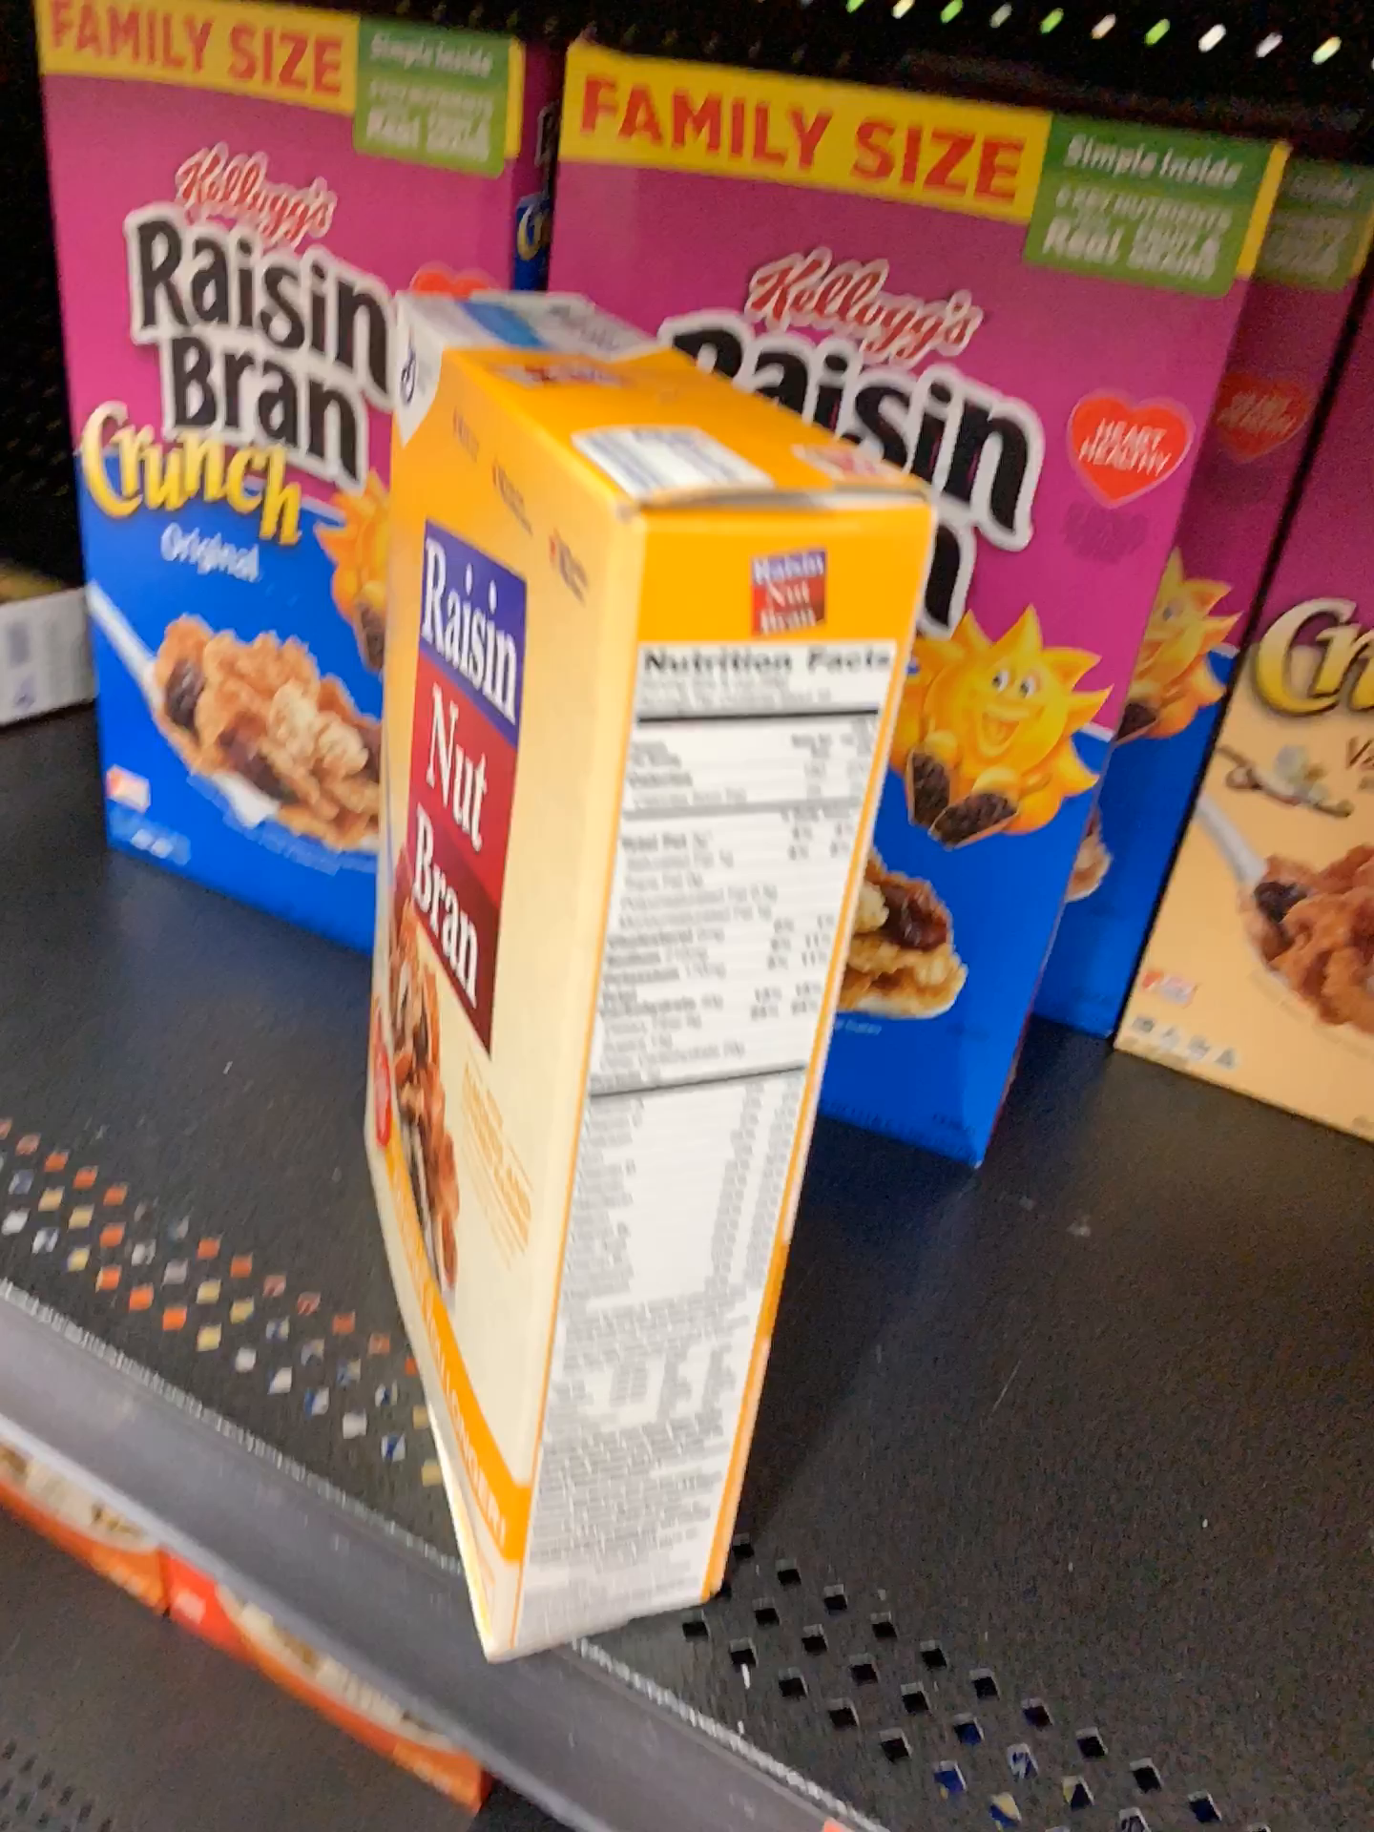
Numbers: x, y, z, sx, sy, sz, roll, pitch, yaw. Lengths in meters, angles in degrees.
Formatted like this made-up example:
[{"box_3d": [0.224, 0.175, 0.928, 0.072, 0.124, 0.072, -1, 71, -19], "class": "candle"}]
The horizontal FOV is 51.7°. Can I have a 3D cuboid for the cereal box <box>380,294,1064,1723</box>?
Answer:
[{"box_3d": [-0.024, 0.011, 0.335, 0.060, 0.259, 0.201, -3, 31, -20], "class": "cereal box"}]
